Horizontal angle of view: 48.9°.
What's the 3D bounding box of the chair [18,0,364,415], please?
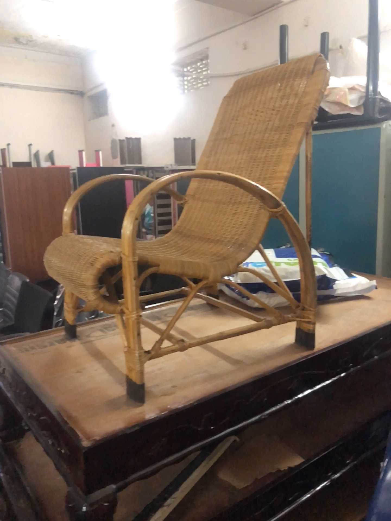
[{"bbox_3d":[-0.039,-0.234,1.459,0.822,0.998,0.770,-8,12,-33],"label":"chair"}]
